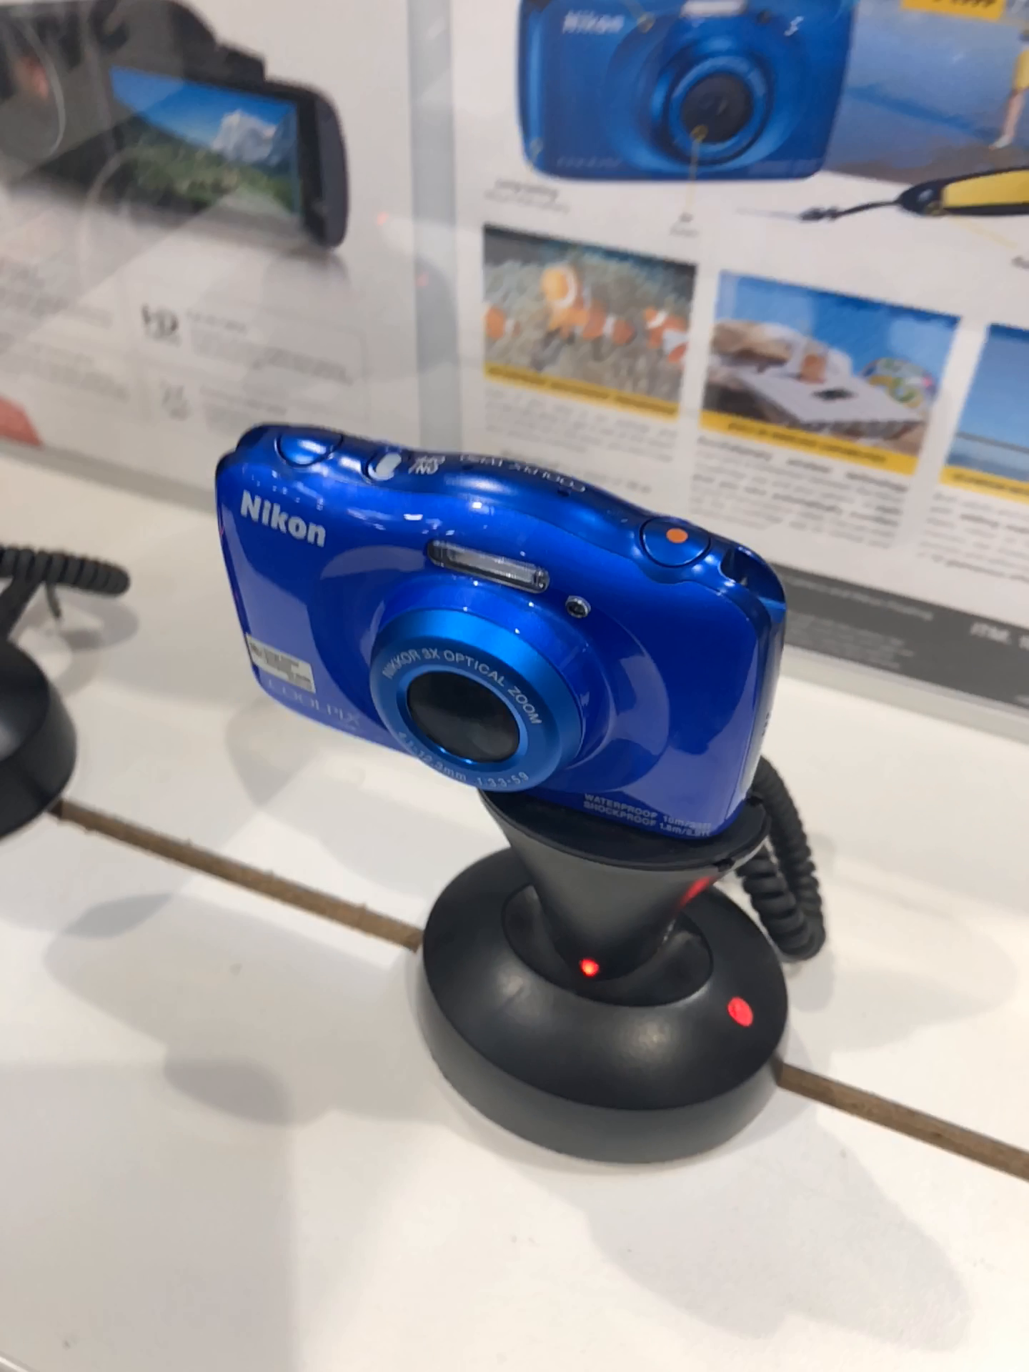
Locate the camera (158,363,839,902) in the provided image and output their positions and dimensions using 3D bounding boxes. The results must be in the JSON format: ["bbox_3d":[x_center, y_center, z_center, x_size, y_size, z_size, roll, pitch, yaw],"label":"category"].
[{"bbox_3d":[-0.003,-0.010,0.203,0.100,0.060,0.040,16,47,14],"label":"camera"}]
